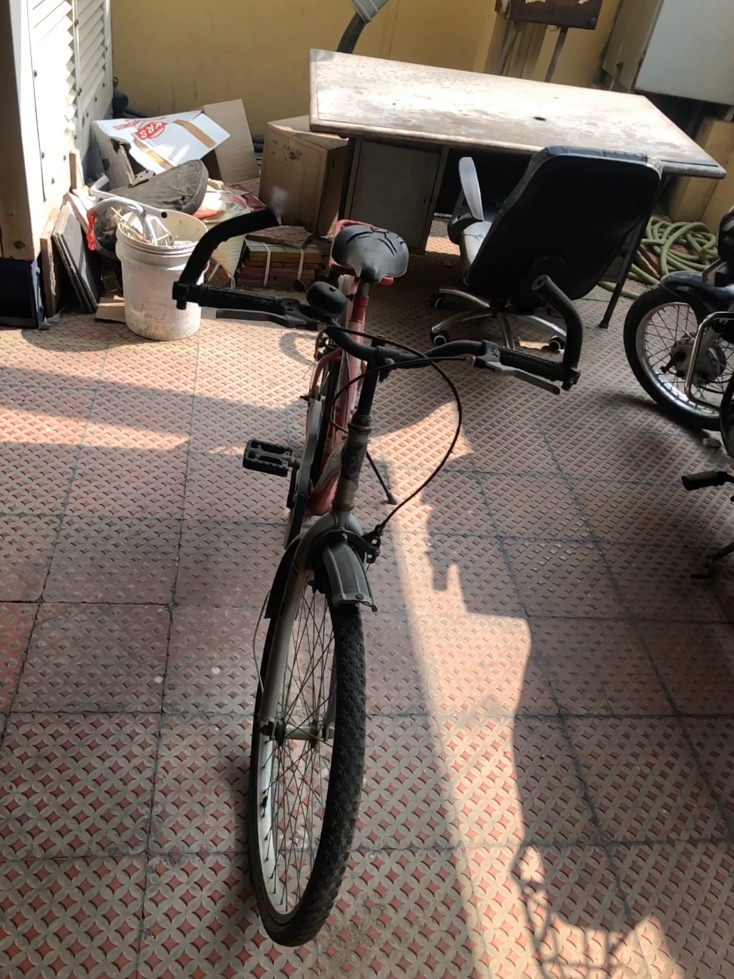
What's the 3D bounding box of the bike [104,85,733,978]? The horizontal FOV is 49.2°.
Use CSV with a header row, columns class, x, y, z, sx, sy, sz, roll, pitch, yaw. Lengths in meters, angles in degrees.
class,x,y,z,sx,sy,sz,roll,pitch,yaw
bike,-0.024,-0.065,1.603,0.575,0.963,1.620,7,38,-7
